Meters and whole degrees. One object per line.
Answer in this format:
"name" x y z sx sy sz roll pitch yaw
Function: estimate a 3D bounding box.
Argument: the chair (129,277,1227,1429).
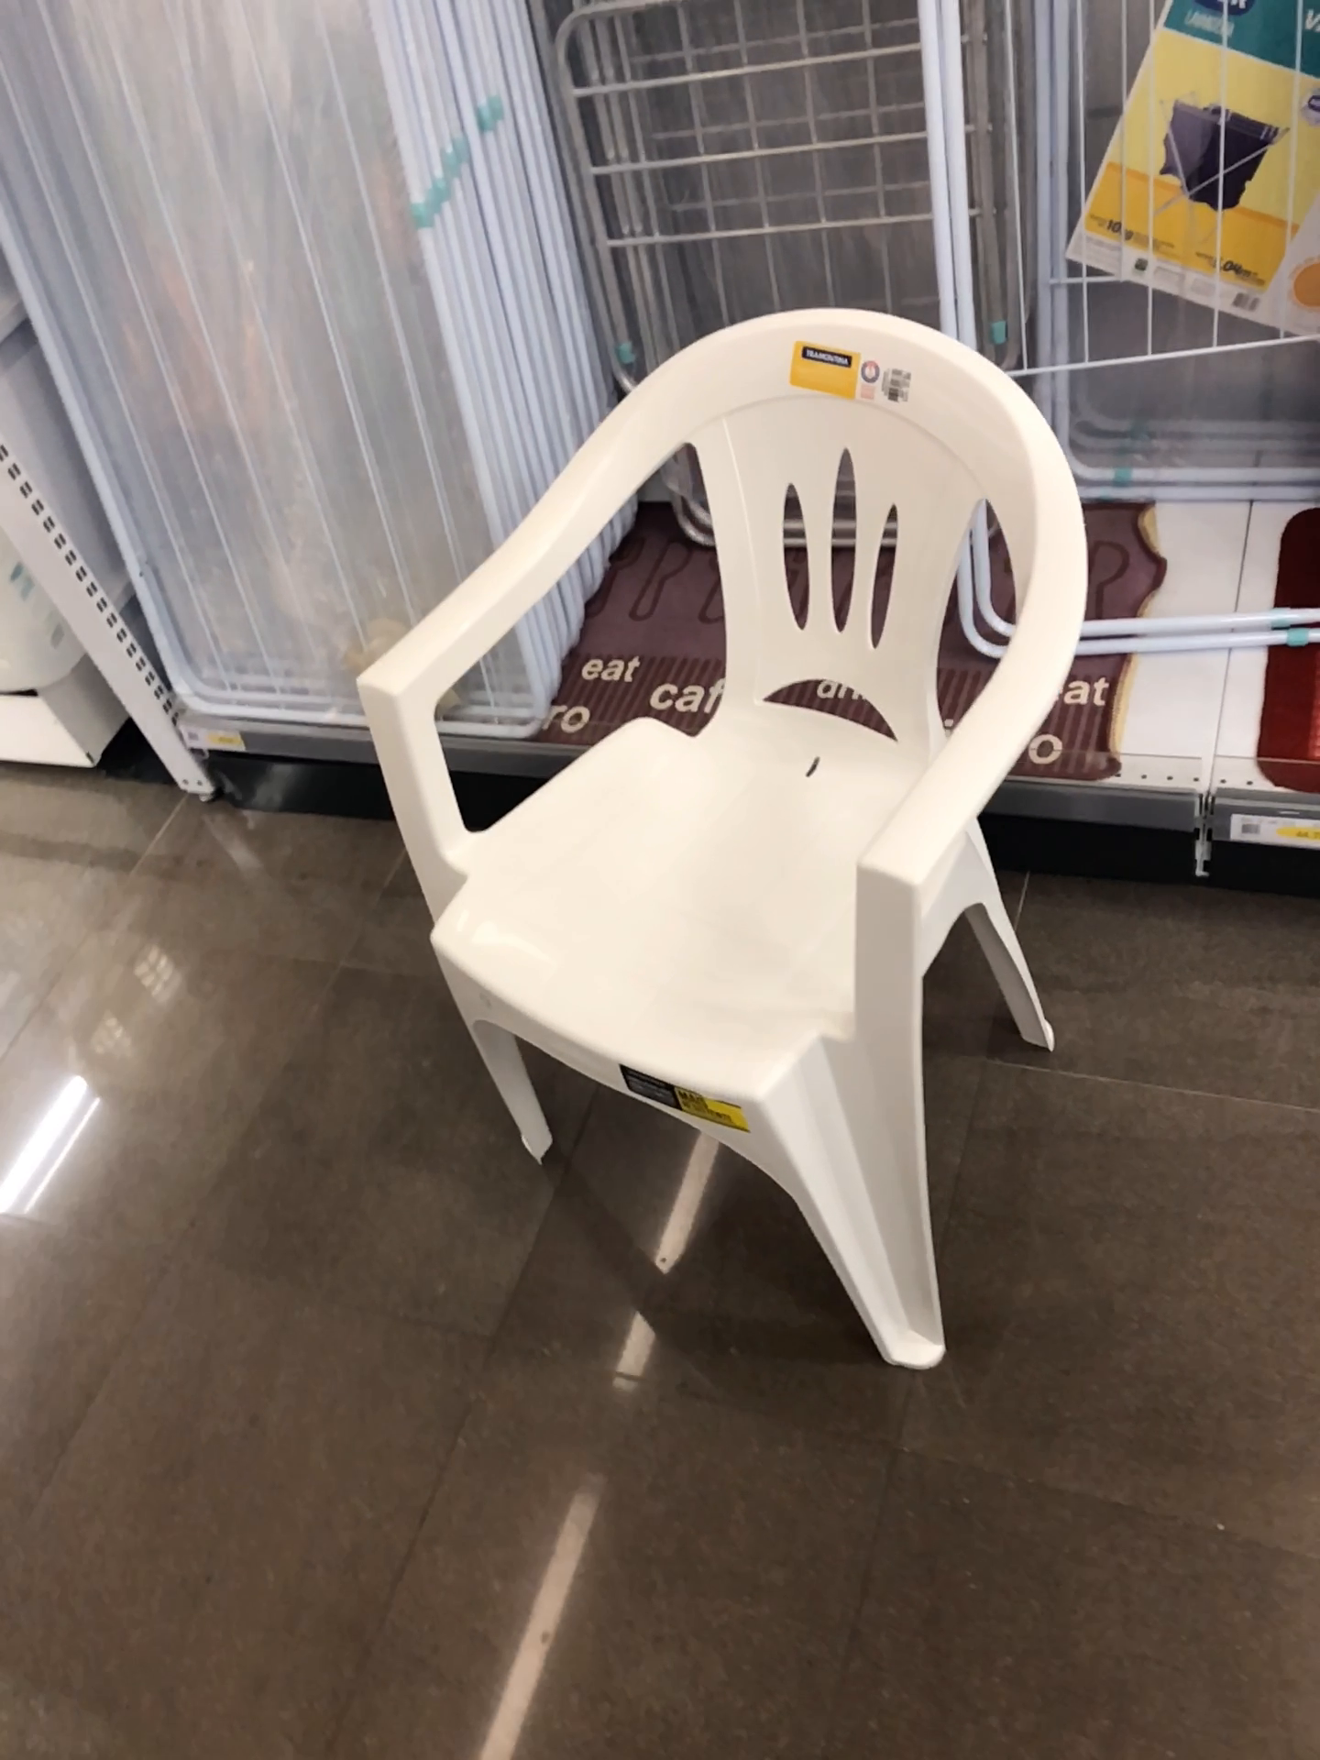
"chair" 0.096 -0.043 1.311 0.602 0.705 0.602 18 57 31
